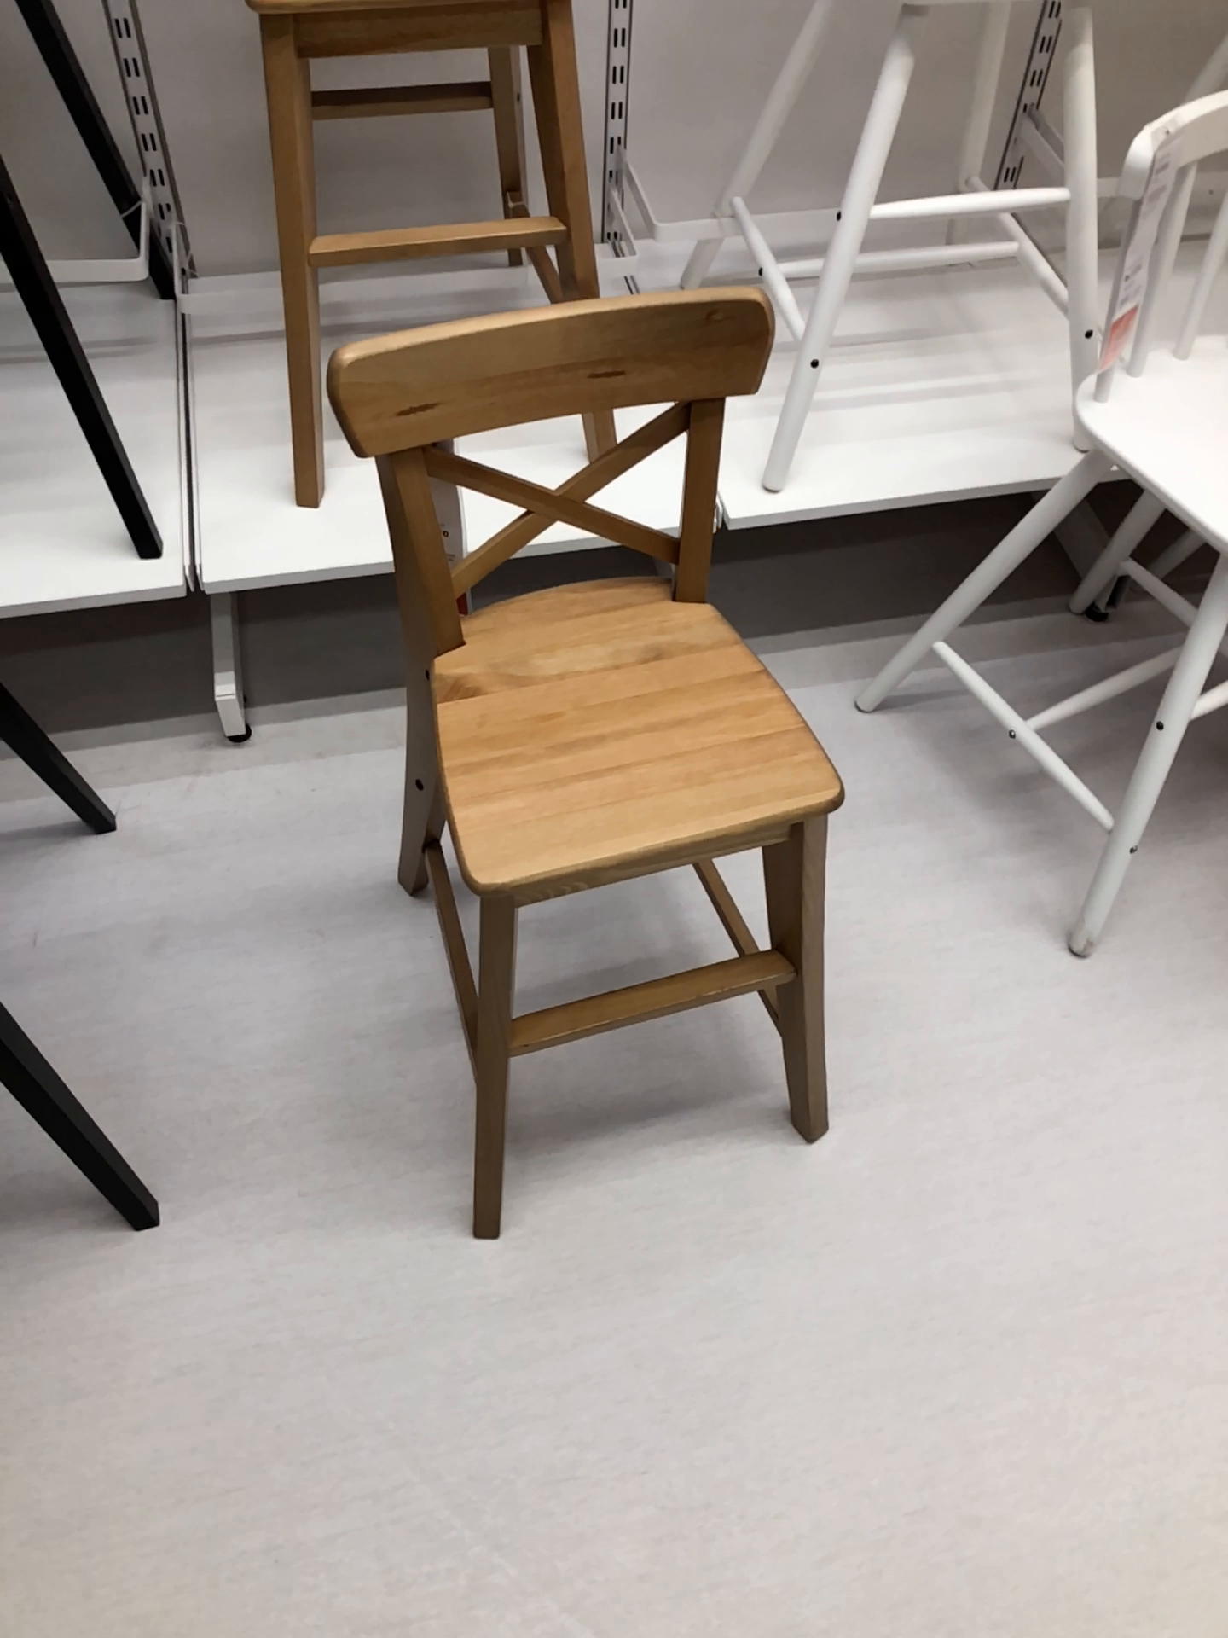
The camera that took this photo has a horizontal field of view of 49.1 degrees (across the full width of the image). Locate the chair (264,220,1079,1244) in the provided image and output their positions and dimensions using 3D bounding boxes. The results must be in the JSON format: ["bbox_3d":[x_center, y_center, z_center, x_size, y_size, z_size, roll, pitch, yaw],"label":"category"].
[{"bbox_3d":[-0.001,-0.031,1.099,0.390,0.676,0.432,-12,54,-11],"label":"chair"}]
